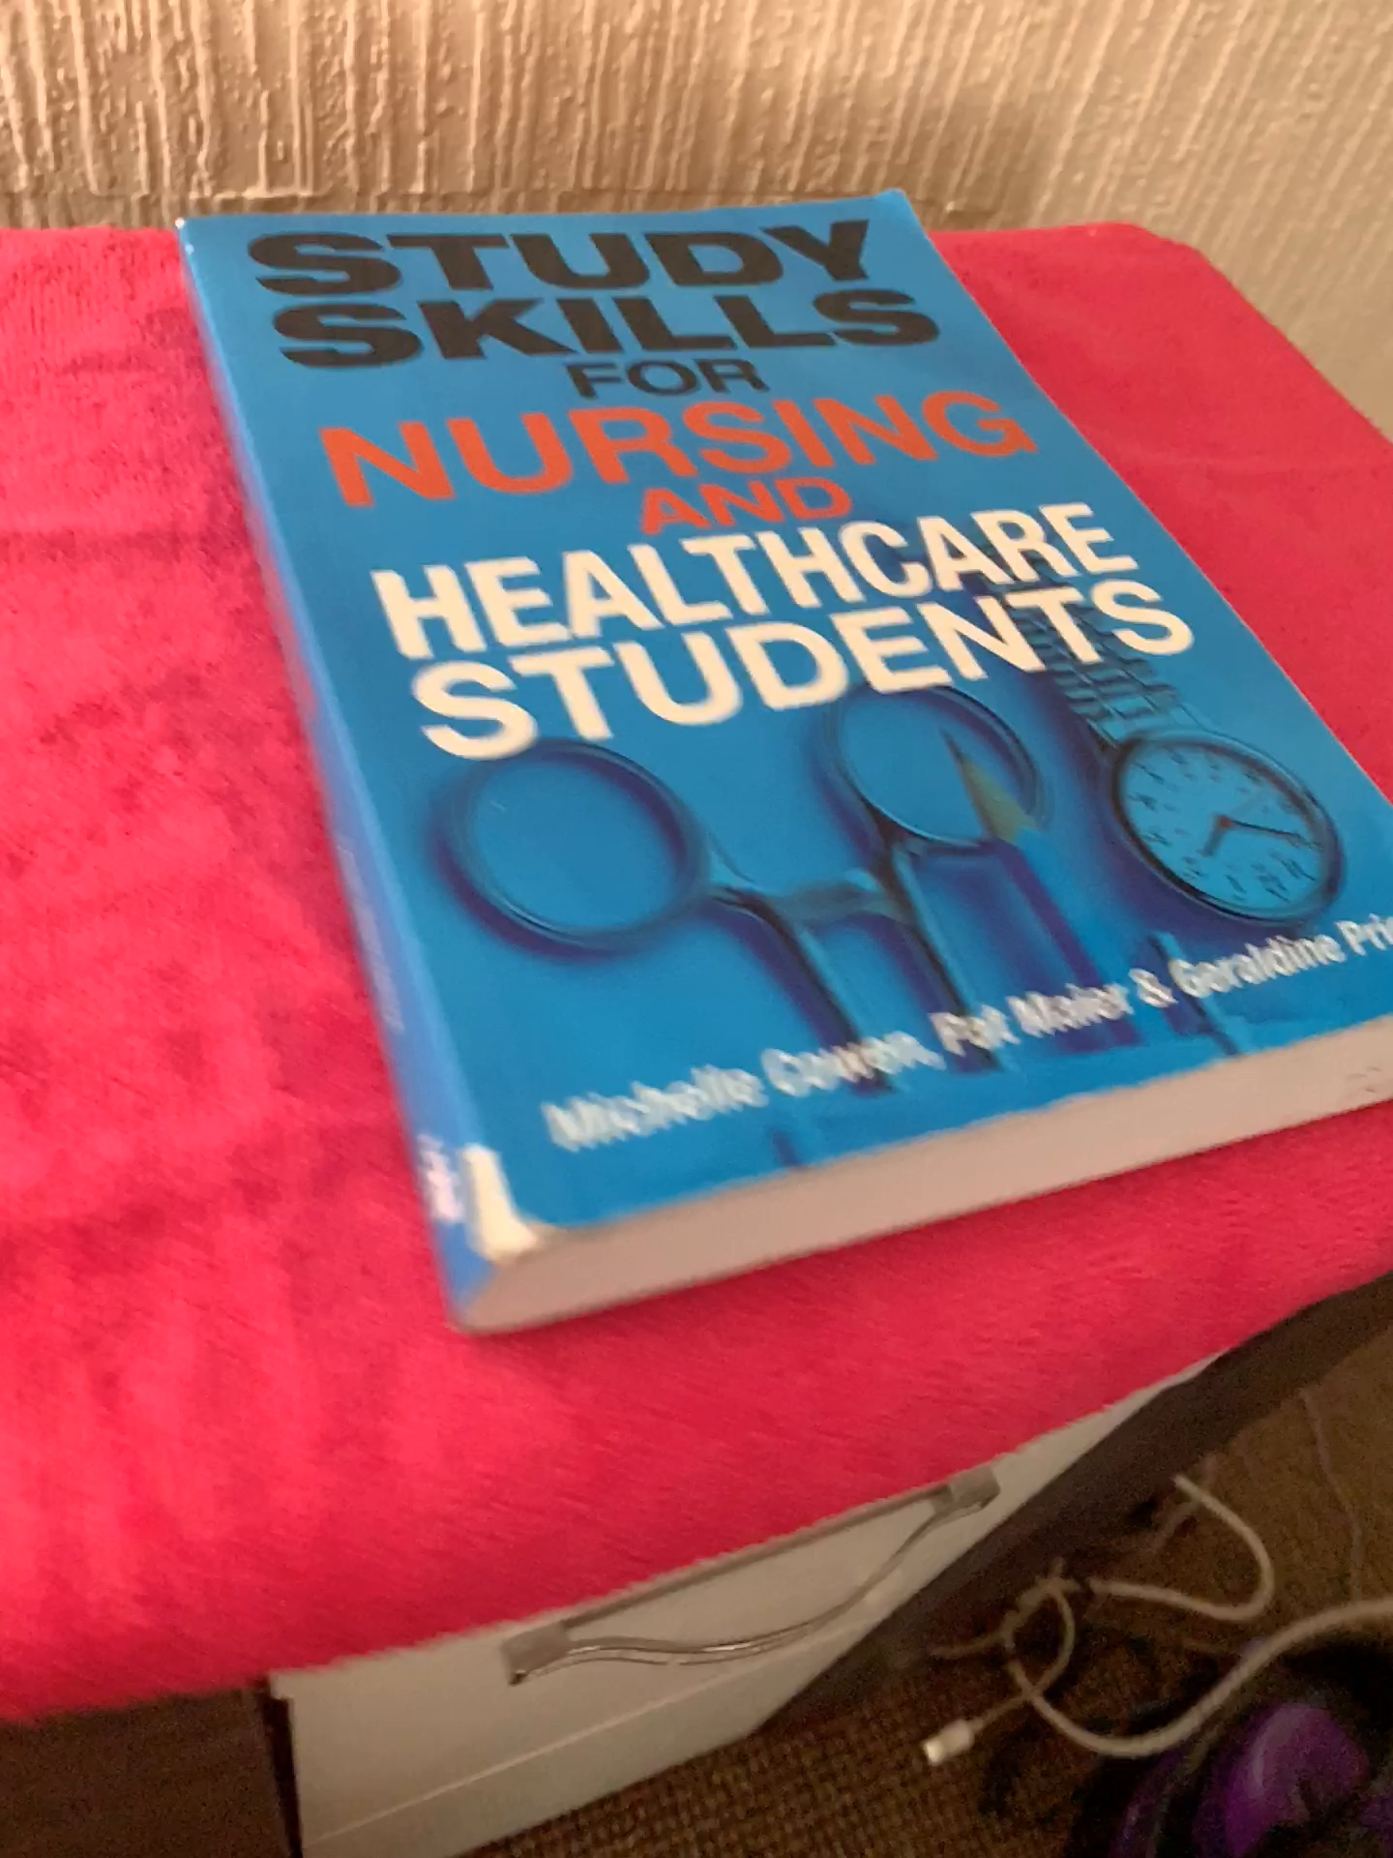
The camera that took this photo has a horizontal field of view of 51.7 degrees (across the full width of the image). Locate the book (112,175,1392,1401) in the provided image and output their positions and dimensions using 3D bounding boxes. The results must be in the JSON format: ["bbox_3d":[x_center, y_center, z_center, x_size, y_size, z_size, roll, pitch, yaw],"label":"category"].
[{"bbox_3d":[0.008,-0.068,0.289,0.201,0.040,0.271,-10,53,-21],"label":"book"}]
